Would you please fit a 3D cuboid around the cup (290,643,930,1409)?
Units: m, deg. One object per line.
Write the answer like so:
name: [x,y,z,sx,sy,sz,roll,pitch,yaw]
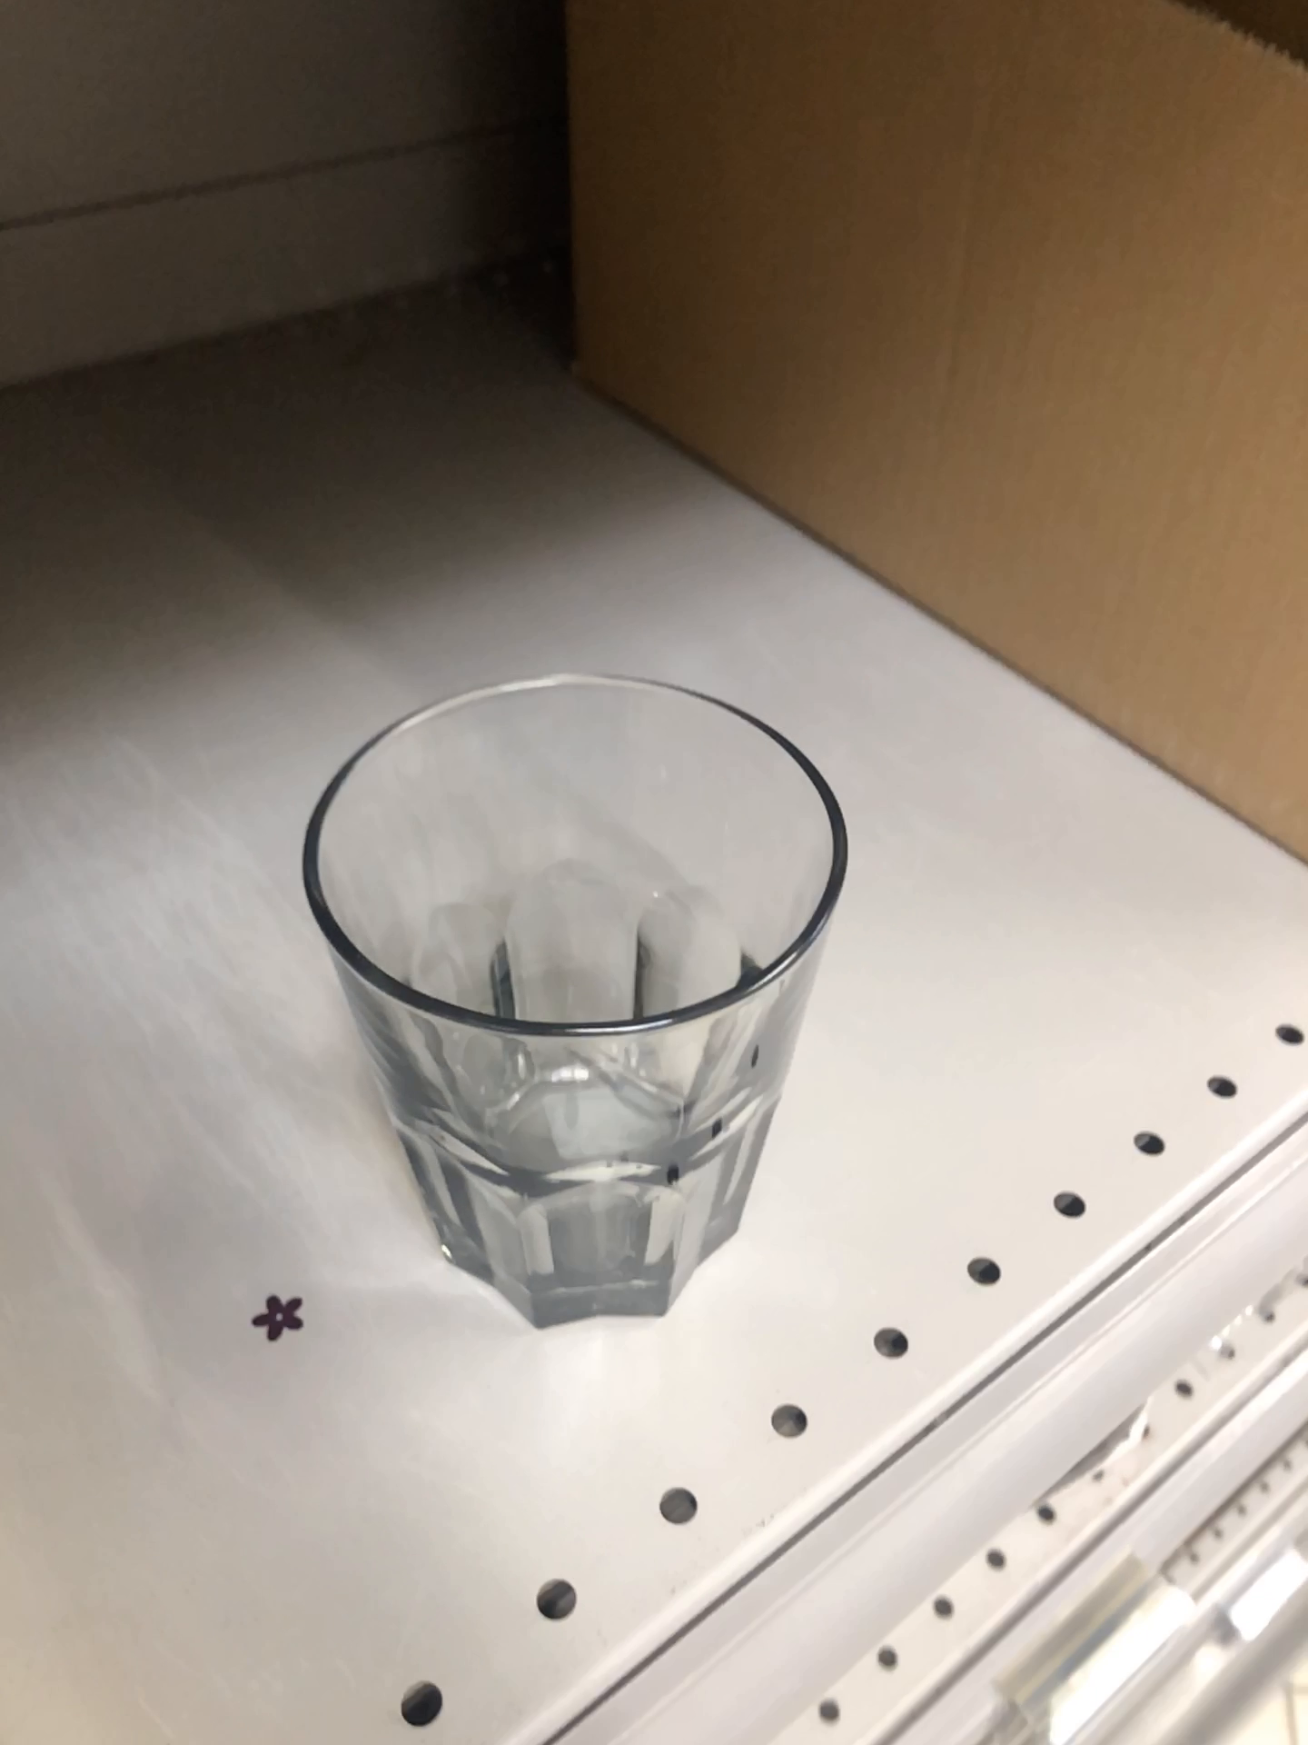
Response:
cup: [-0.013,0.025,0.253,0.086,0.092,0.083,1,43,-1]
